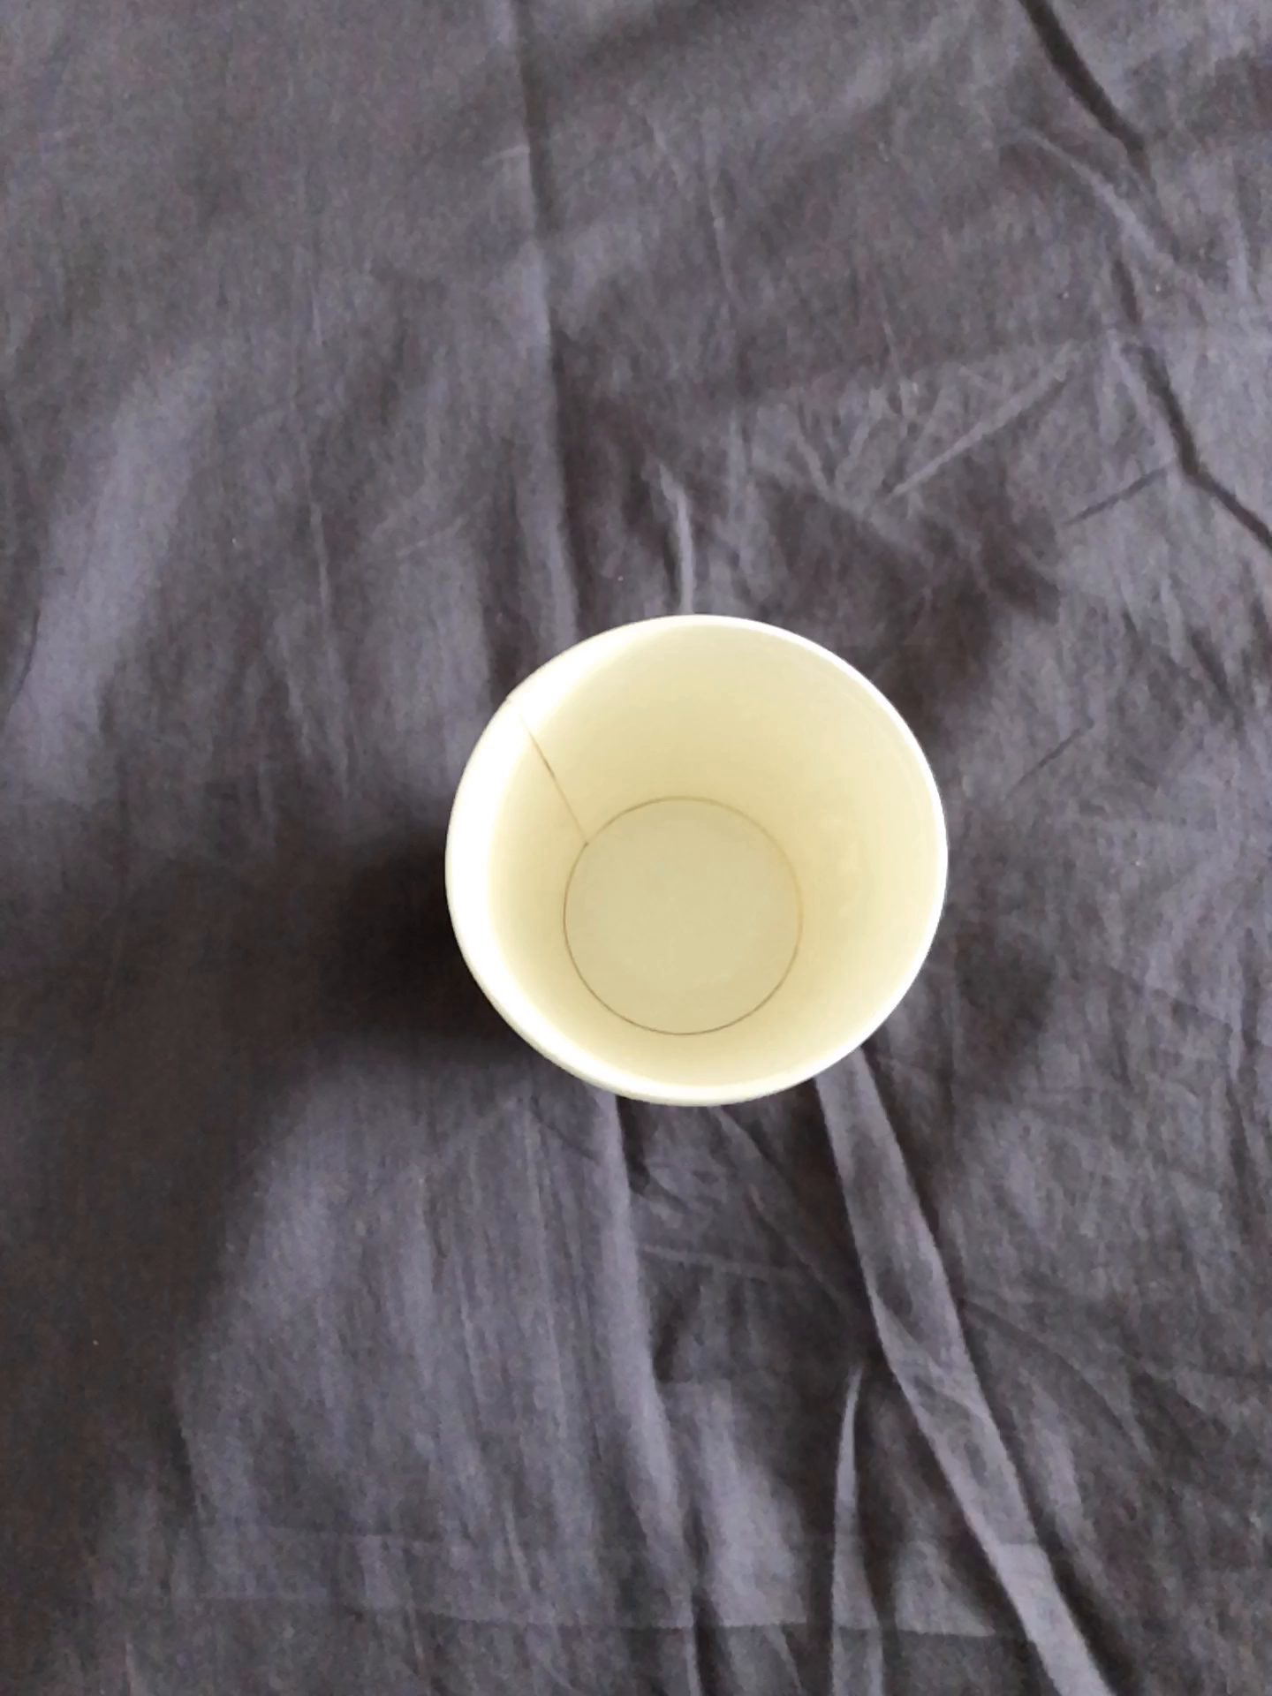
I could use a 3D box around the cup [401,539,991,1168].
[{"bbox_3d":[0.009,0.007,0.292,0.098,0.101,0.107,0,81,1],"label":"cup"}]
